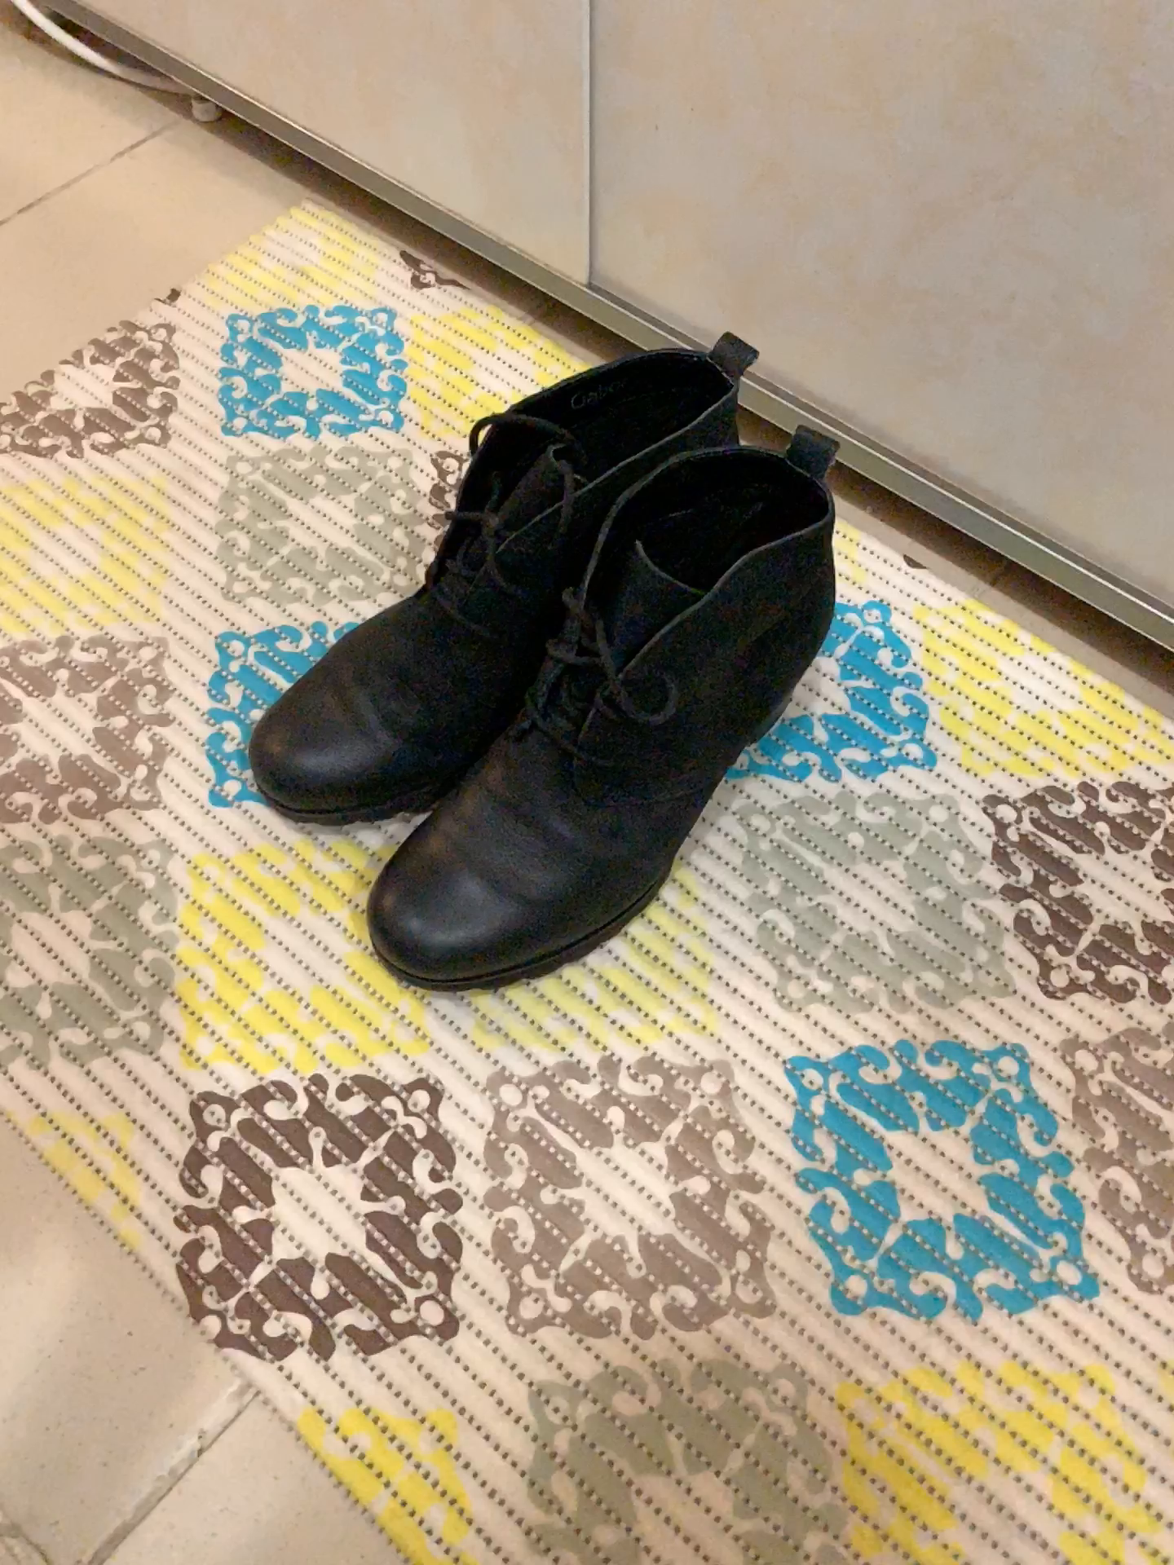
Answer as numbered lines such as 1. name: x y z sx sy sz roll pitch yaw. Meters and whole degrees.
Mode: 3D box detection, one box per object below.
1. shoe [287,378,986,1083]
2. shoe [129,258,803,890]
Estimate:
1. shoe: 0.022 -0.016 0.456 0.230 0.150 0.090 -39 68 -19
2. shoe: -0.039 -0.082 0.495 0.230 0.150 0.090 -33 66 -17
